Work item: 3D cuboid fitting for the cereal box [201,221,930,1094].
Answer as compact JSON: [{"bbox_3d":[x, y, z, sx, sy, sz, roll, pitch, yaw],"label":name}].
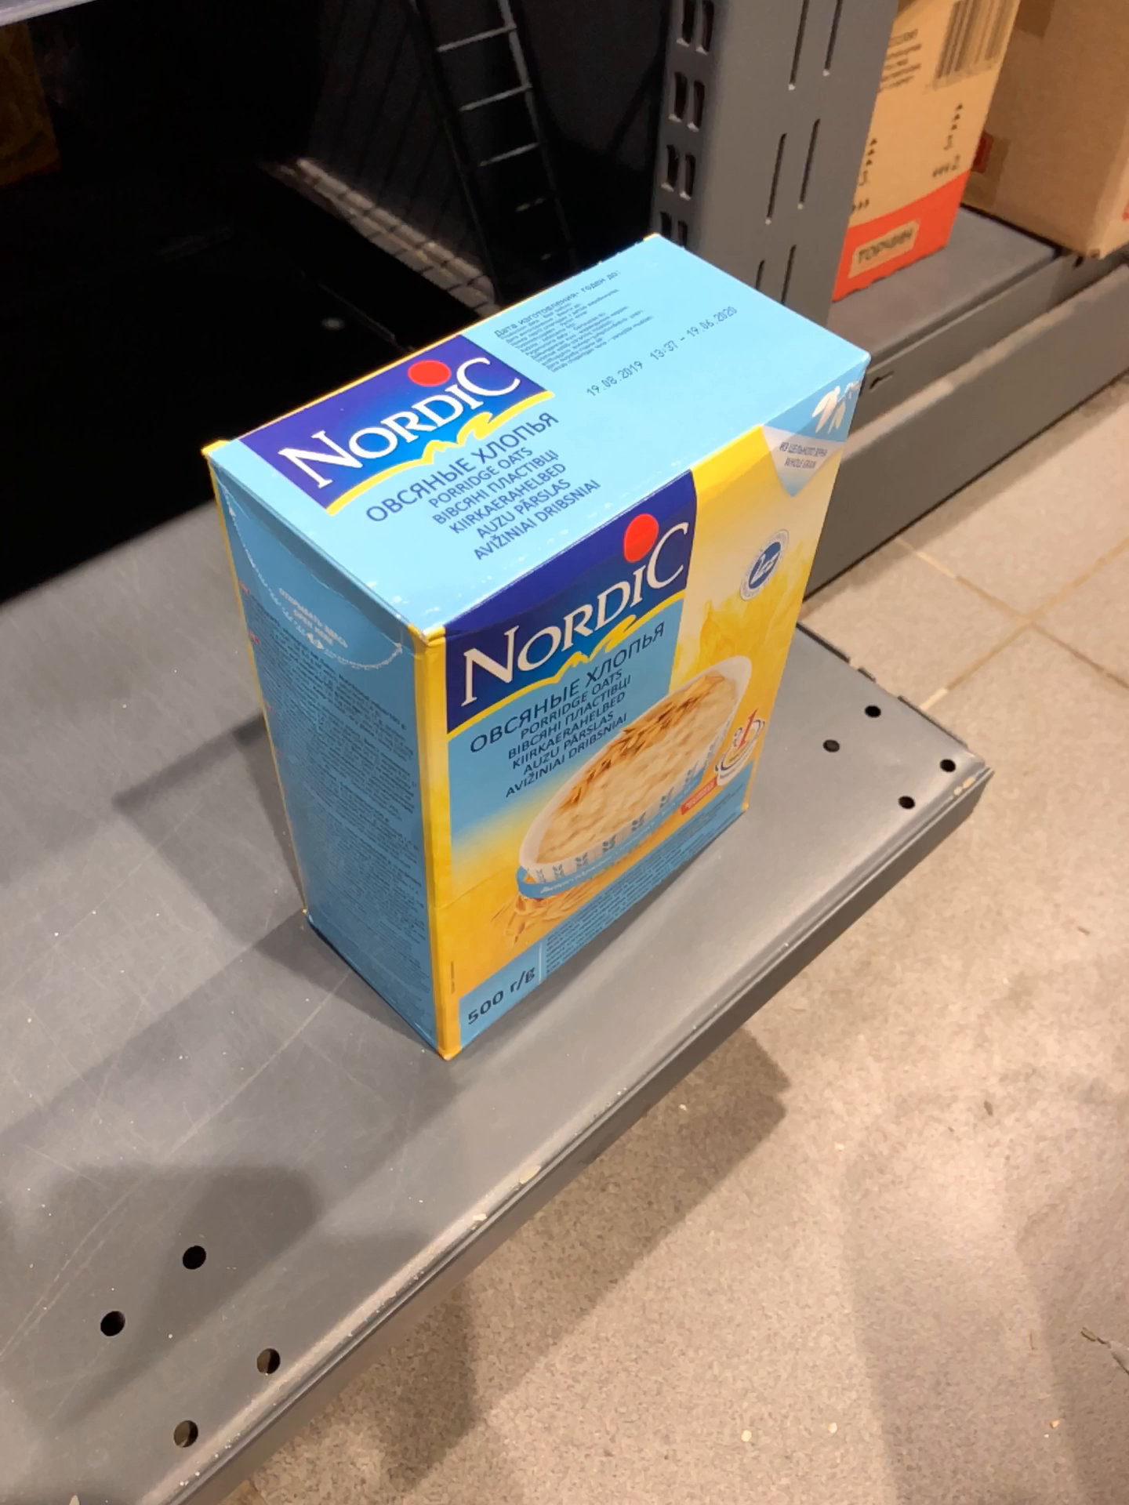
[{"bbox_3d":[0.002,-0.021,0.346,0.080,0.179,0.151,38,58,25],"label":"cereal box"}]
